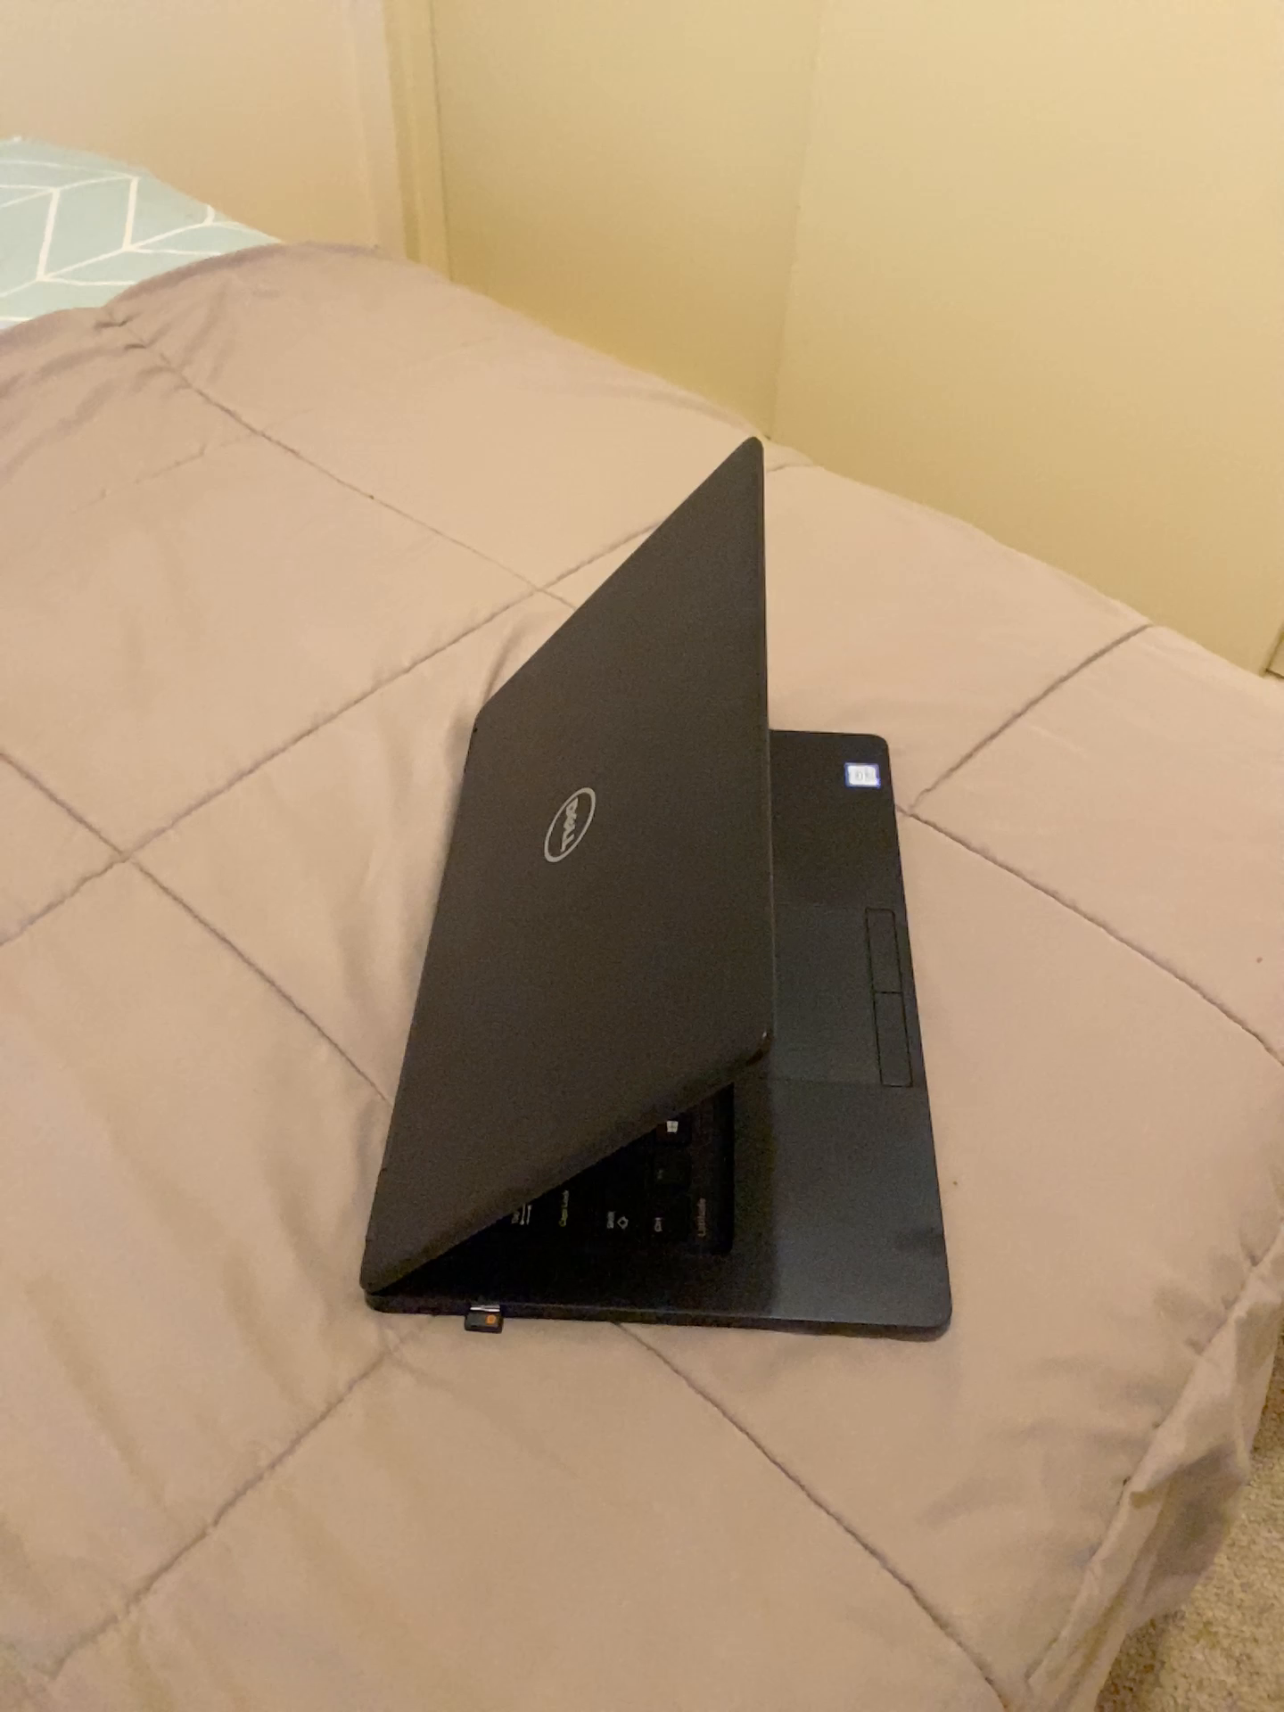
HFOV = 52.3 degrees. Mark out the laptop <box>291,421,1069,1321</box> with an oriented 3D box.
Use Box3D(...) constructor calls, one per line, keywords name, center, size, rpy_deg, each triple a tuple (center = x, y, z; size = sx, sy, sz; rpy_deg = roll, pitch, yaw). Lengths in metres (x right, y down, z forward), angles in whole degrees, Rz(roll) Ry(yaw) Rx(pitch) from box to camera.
Box3D(name="laptop", center=(0.017, -0.010, 0.559), size=(0.226, 0.183, 0.336), rpy_deg=(3, 48, 1))
